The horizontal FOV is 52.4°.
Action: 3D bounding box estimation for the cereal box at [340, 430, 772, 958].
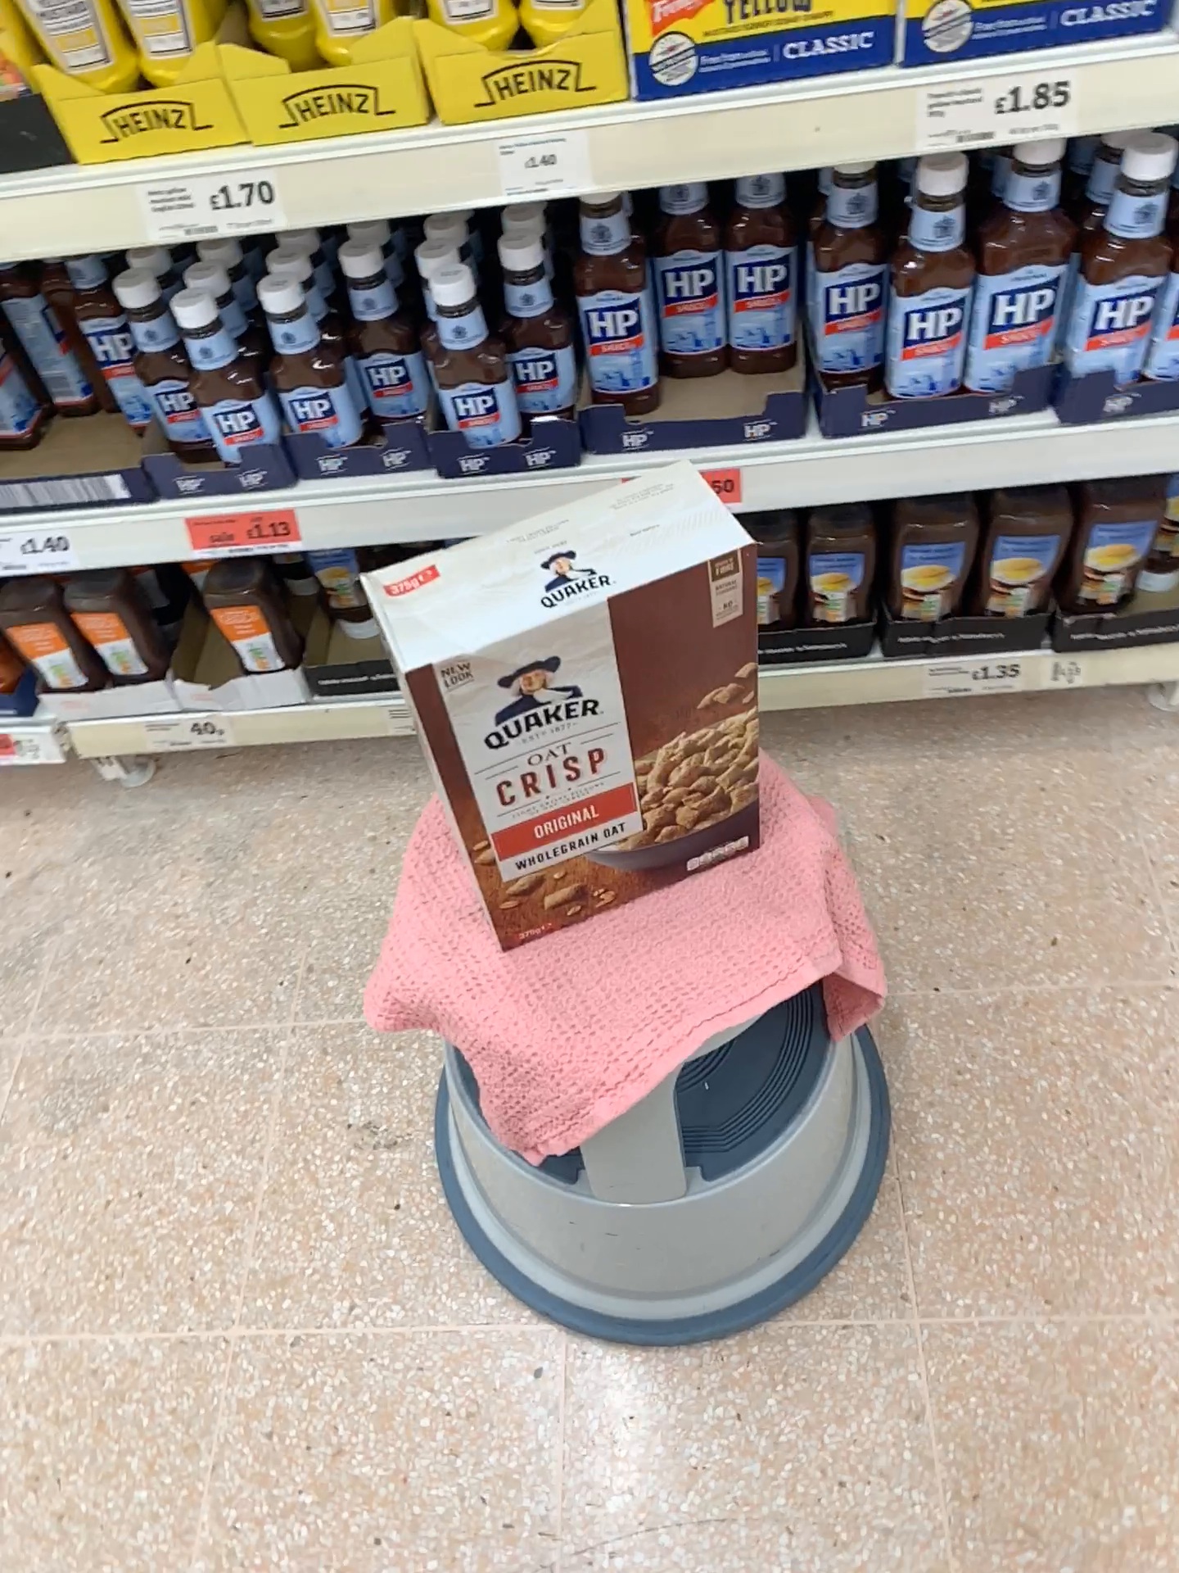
[{"bbox_3d":[-0.003,-0.038,0.684,0.190,0.268,0.091,-22,54,-8],"label":"cereal box"}]
